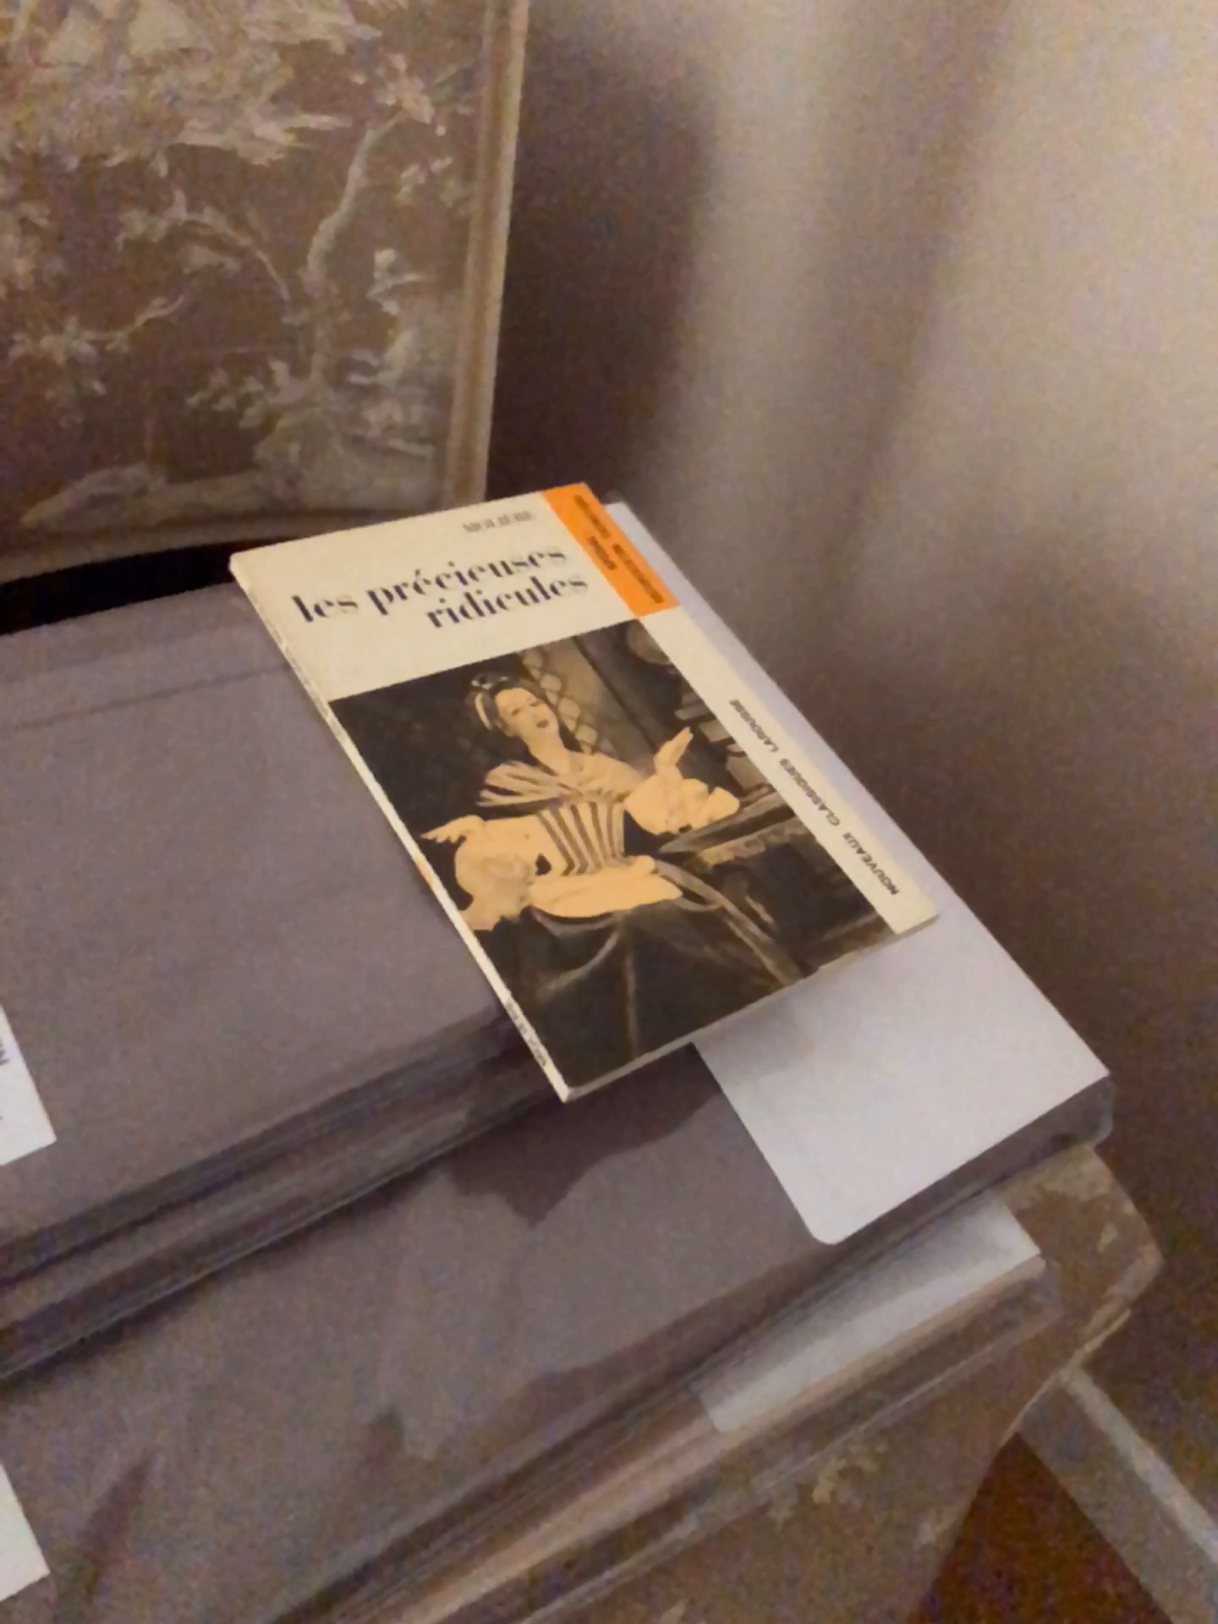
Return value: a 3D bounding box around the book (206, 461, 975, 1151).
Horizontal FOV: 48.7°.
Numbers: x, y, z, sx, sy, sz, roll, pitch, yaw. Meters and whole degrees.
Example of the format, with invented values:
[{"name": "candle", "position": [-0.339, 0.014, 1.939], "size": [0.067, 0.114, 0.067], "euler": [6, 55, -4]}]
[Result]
[{"name": "book", "position": [-0.010, -0.018, 0.348], "size": [0.121, 0.020, 0.180], "euler": [-21, 59, -30]}]
